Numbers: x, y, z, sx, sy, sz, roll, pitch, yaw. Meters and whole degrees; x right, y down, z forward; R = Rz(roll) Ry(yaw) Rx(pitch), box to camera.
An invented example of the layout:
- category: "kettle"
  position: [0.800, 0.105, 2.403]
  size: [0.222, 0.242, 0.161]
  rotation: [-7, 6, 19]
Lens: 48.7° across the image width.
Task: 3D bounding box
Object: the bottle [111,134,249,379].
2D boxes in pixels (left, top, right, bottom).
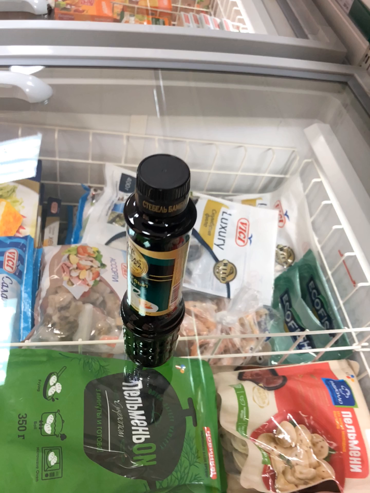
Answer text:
- category: "bottle"
  position: [-0.018, 0.023, 0.293]
  size: [0.053, 0.199, 0.058]
  rotation: [5, 52, -7]
